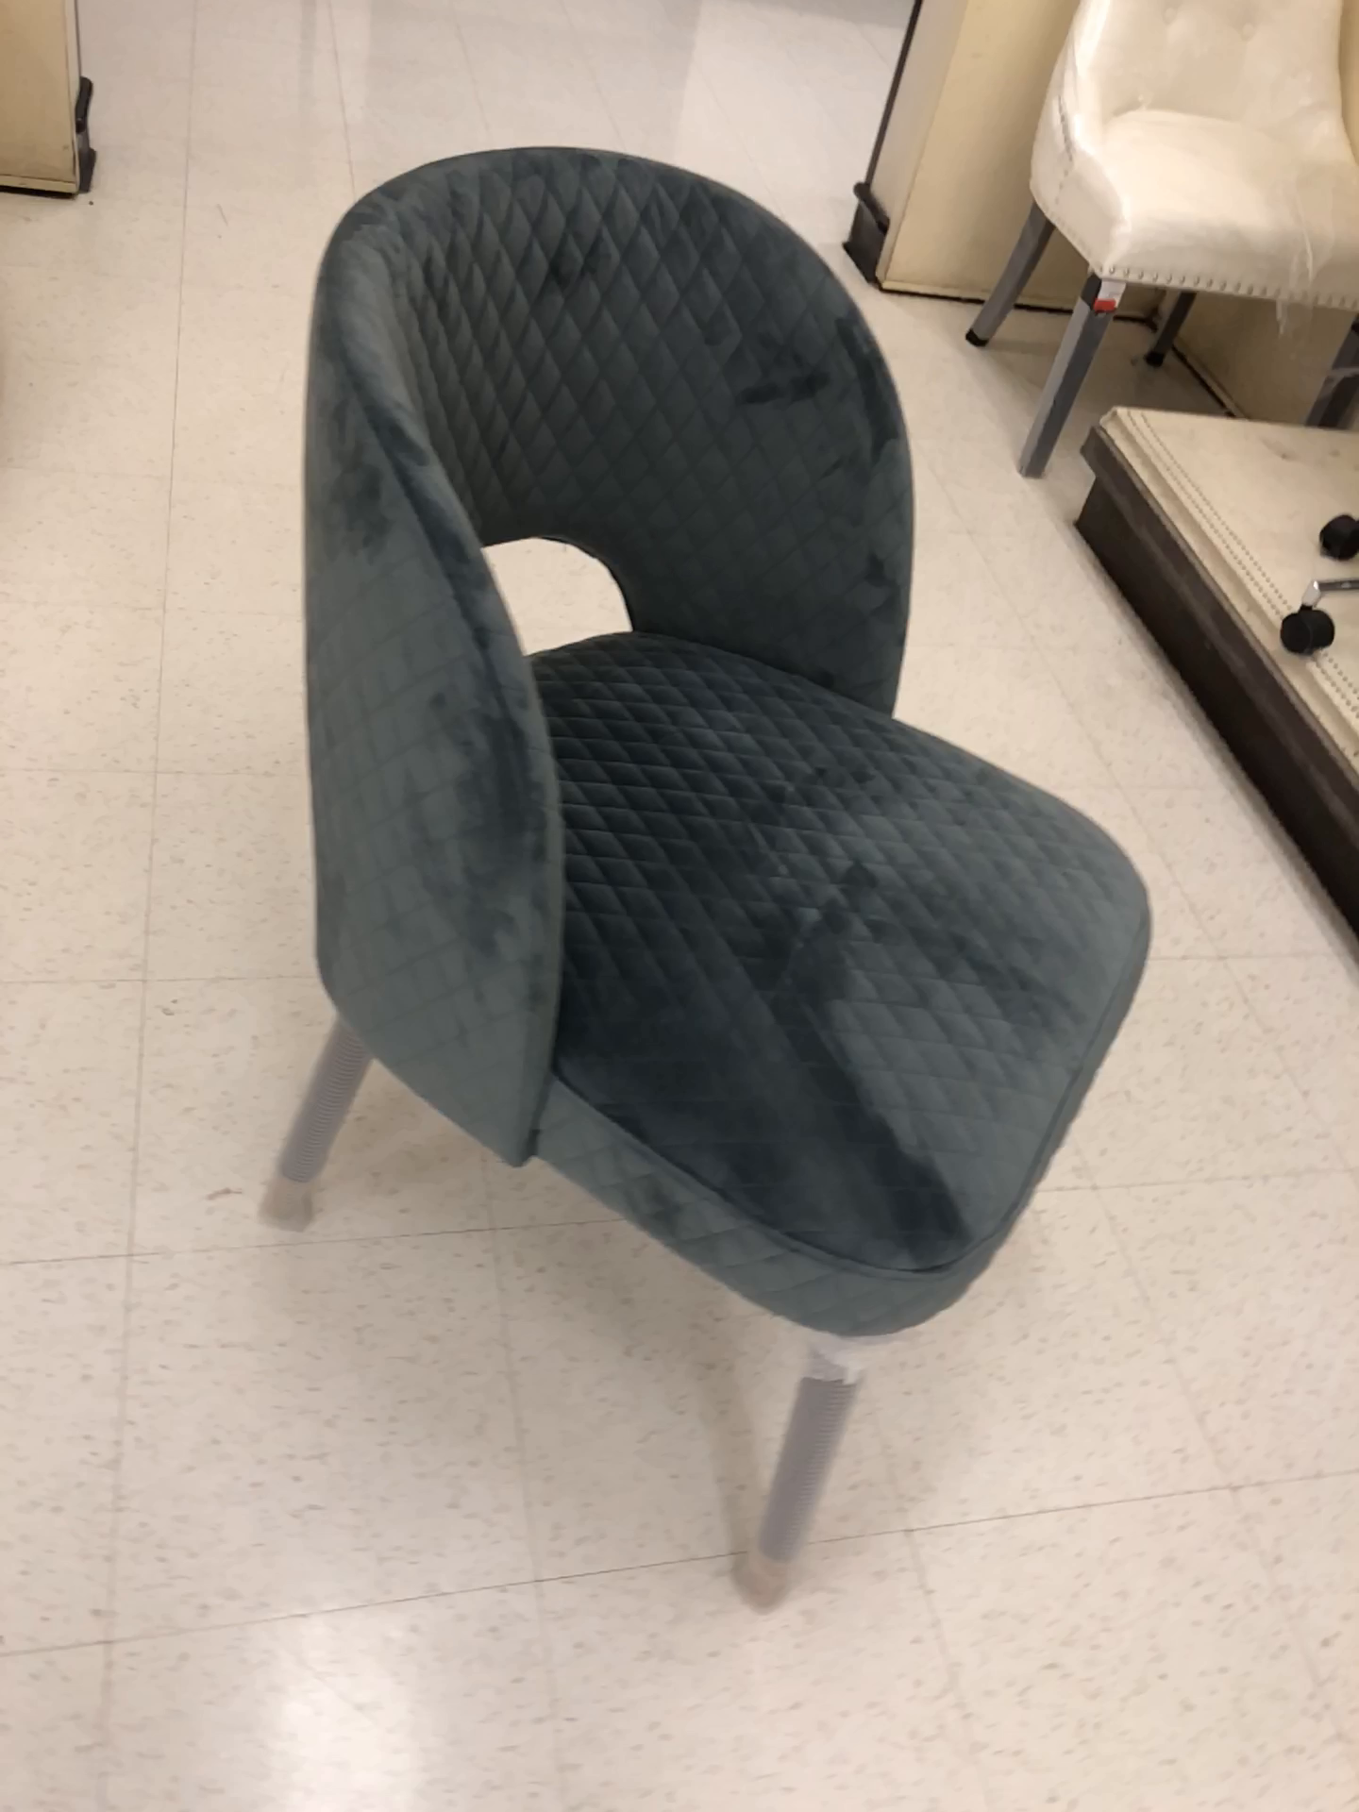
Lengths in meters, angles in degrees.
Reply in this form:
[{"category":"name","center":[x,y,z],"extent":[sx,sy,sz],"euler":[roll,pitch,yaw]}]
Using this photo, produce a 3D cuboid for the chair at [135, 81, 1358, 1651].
[{"category":"chair","center":[0.038,-0.008,1.109],"extent":[0.580,0.857,0.533],"euler":[30,46,15]}]
